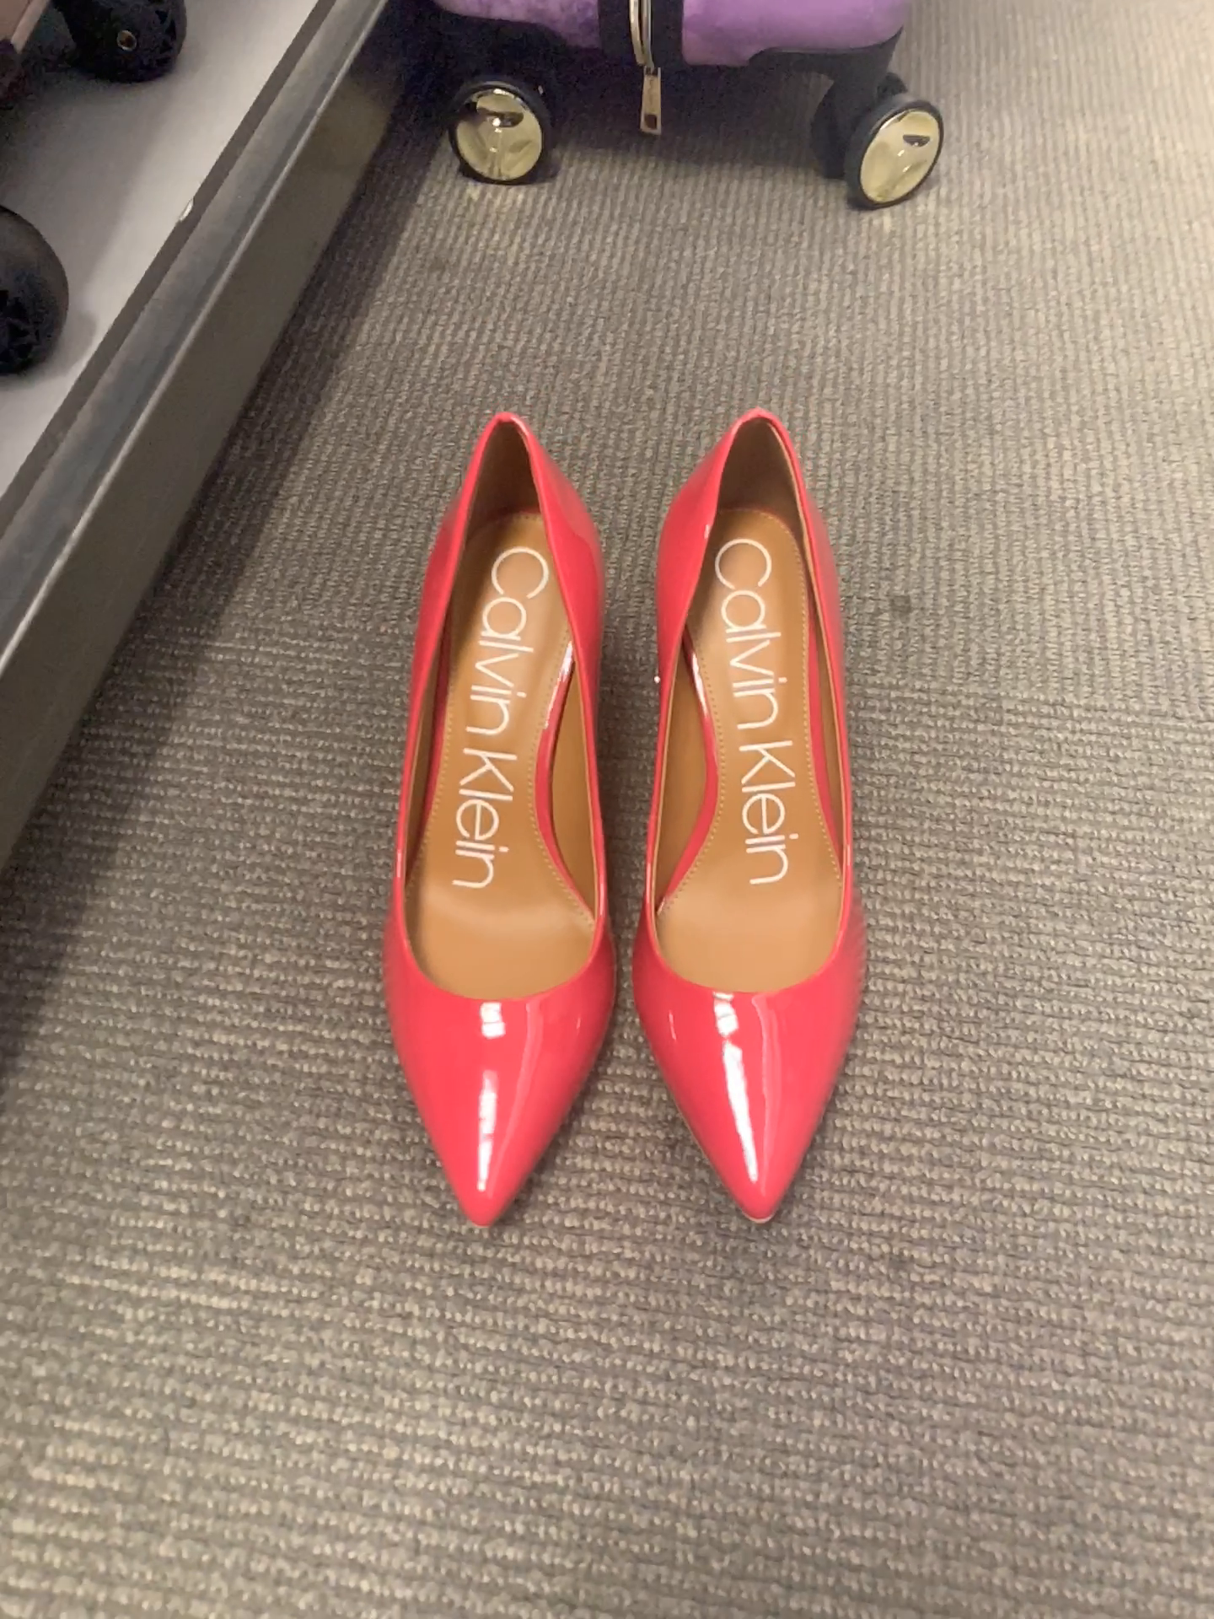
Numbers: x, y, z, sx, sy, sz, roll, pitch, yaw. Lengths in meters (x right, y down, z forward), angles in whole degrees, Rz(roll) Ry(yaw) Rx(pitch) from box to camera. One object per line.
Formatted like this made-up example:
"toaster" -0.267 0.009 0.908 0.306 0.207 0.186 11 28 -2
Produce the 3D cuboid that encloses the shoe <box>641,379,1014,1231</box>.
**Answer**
"shoe" 0.047 -0.005 0.359 0.073 0.120 0.217 0 56 1

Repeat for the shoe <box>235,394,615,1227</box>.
"shoe" -0.037 -0.001 0.365 0.074 0.130 0.209 0 56 1
